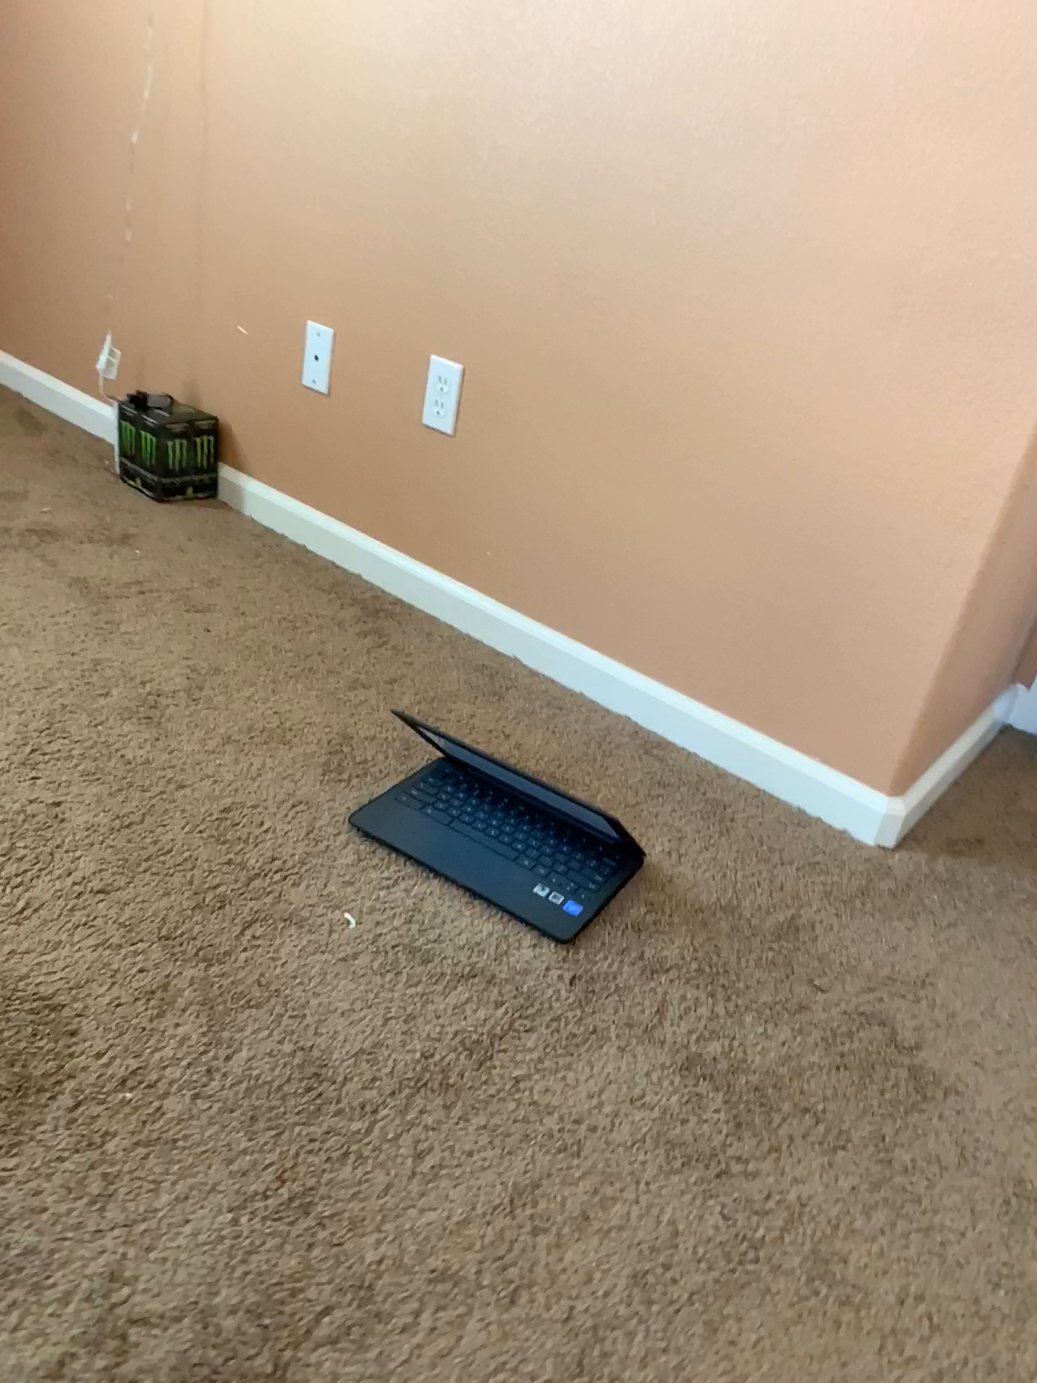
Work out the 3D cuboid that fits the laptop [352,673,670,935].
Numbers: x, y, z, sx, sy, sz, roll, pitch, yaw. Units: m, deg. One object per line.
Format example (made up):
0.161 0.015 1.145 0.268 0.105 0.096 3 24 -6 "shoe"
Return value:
-0.009 0.114 1.203 0.289 0.127 0.195 25 27 23 "laptop"
